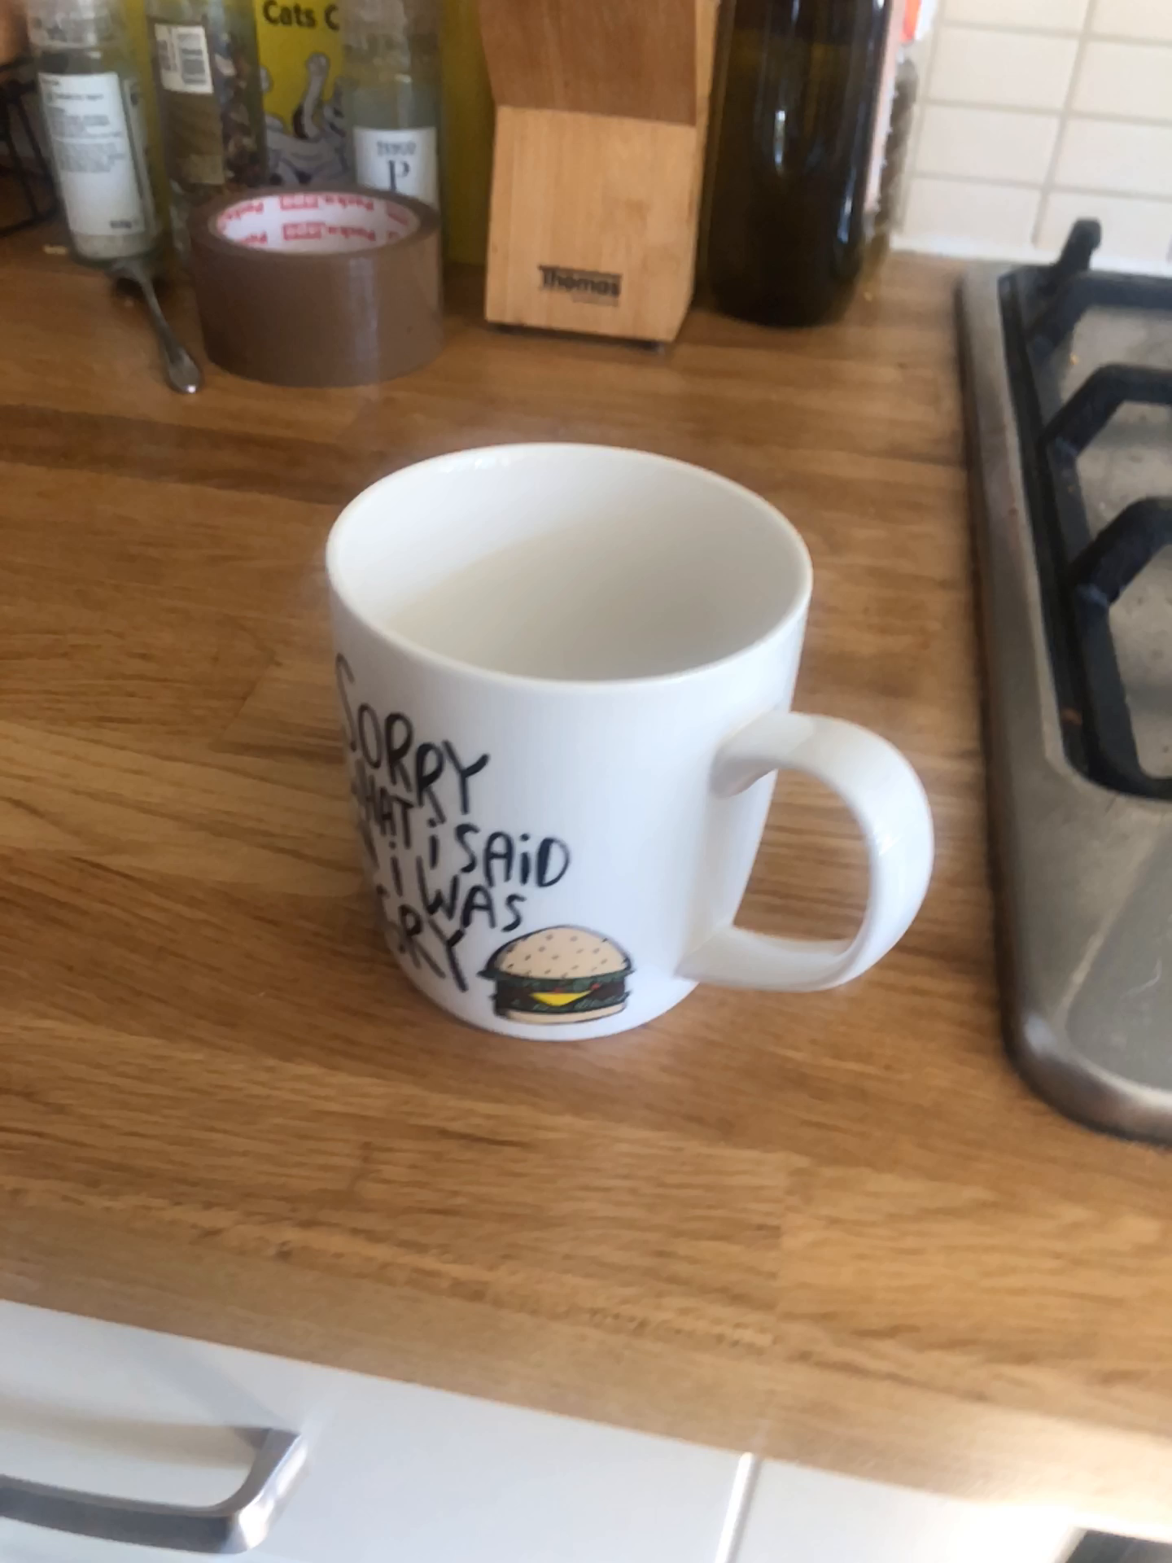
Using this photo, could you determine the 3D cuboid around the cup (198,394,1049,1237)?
[{"bbox_3d":[0.004,-0.003,0.249,0.114,0.087,0.091,32,47,31],"label":"cup"}]
